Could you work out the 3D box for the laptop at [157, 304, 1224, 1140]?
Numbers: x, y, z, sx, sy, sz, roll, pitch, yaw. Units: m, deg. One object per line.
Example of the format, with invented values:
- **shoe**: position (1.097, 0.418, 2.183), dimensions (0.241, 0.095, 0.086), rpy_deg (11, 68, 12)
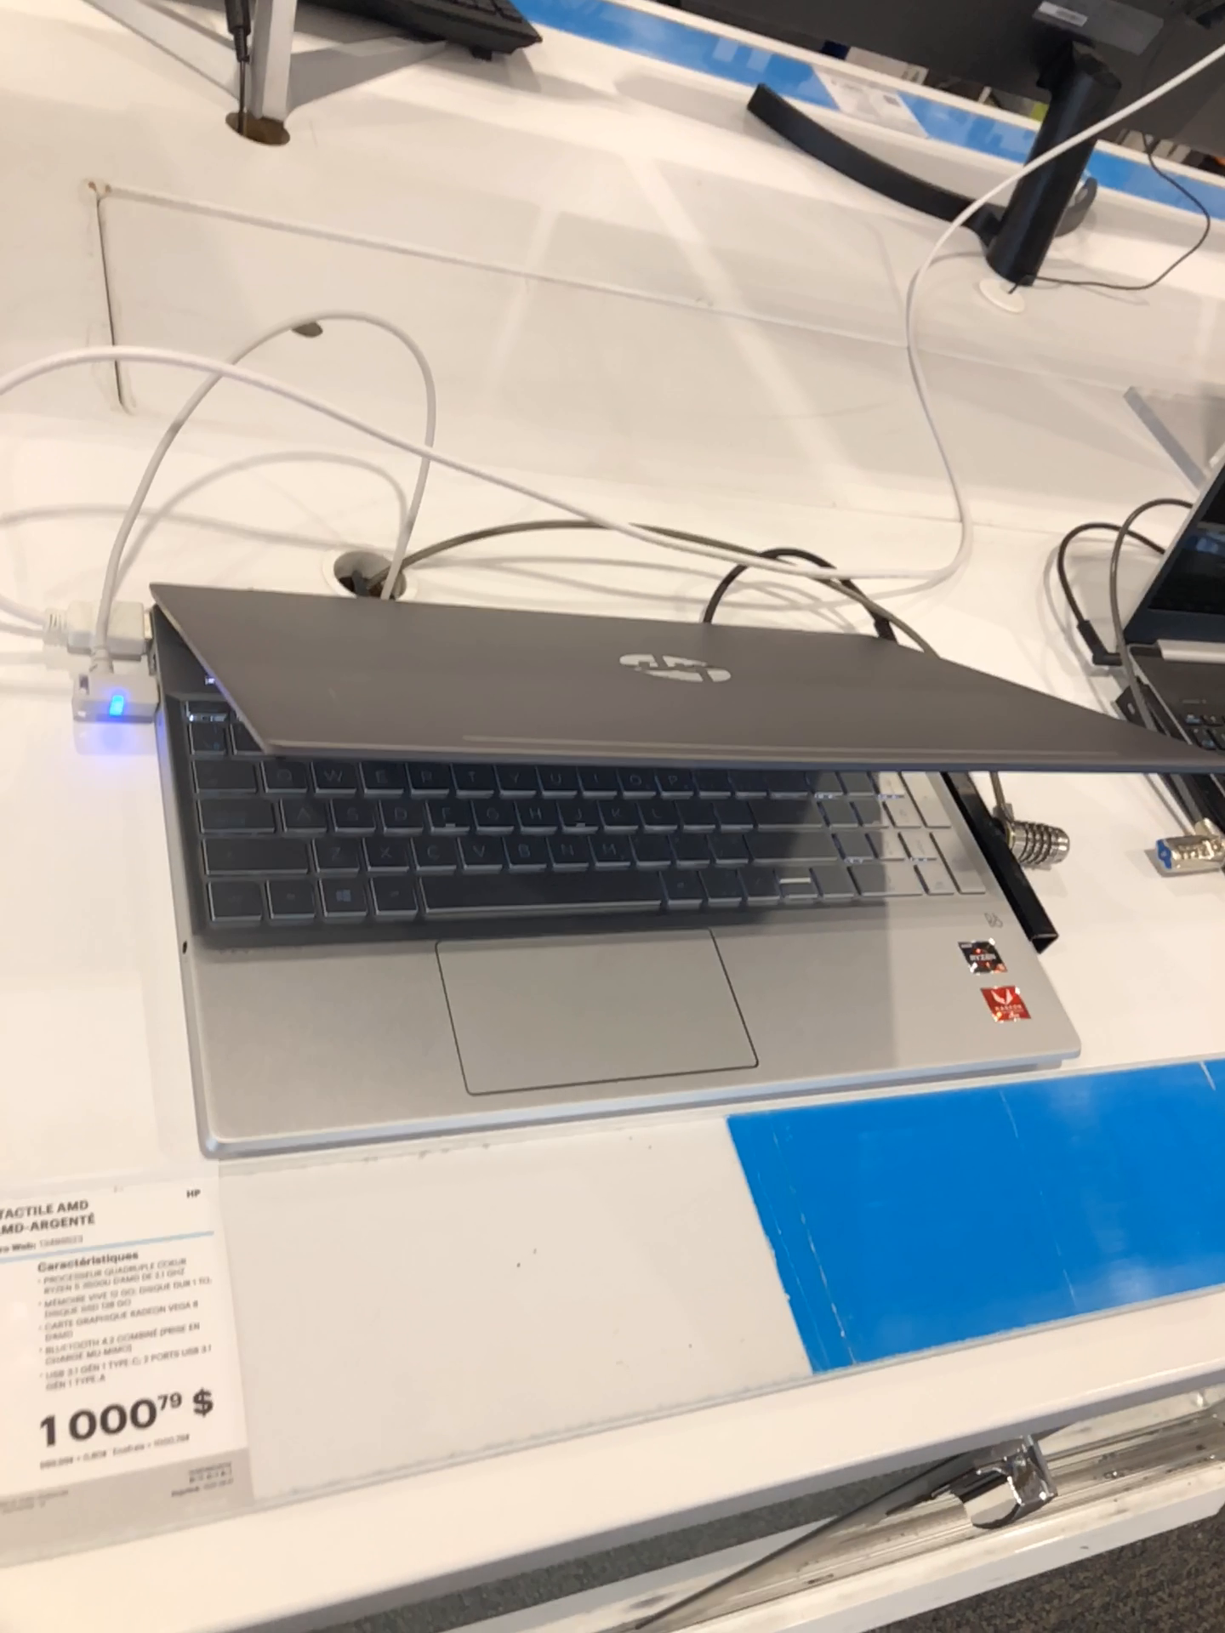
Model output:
- **laptop**: position (0.032, -0.035, 0.499), dimensions (0.351, 0.134, 0.231), rpy_deg (0, 52, -26)
